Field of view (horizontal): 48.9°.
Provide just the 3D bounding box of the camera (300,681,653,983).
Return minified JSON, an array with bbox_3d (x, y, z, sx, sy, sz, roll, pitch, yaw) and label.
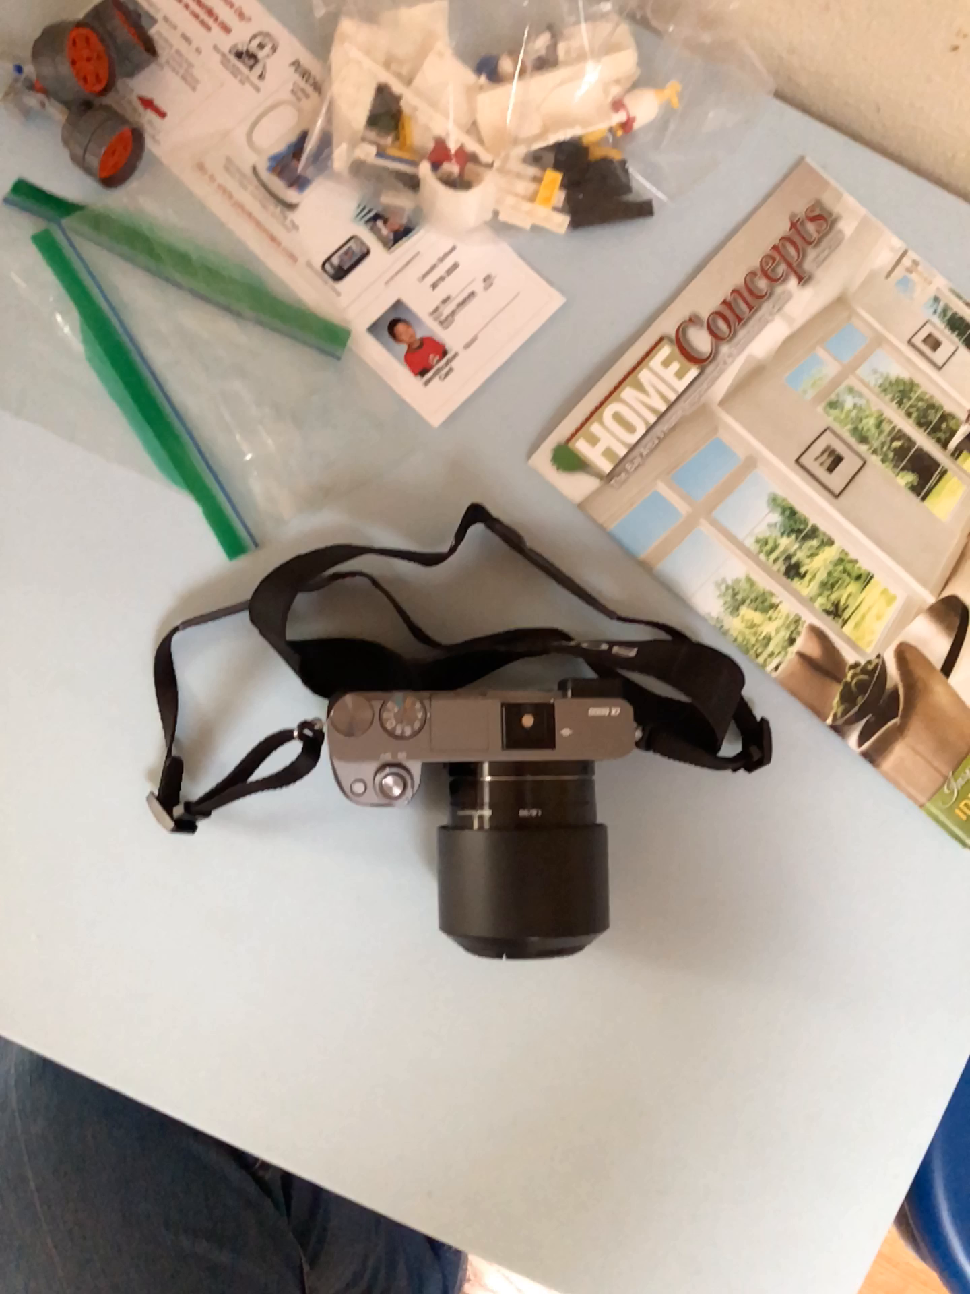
[{"bbox_3d":[-0.005,0.073,0.434,0.130,0.070,0.110,1,83,-4],"label":"camera"}]
